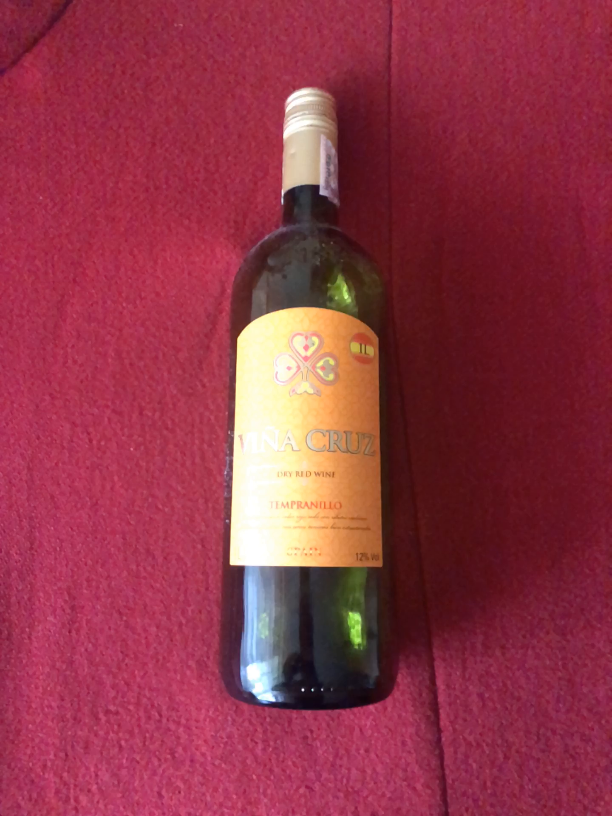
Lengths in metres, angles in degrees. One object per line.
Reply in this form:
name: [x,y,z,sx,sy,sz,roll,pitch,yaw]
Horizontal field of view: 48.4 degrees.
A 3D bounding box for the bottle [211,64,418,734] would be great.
bottle: [0.004,-0.012,0.331,0.080,0.070,0.300,0,77,1]
